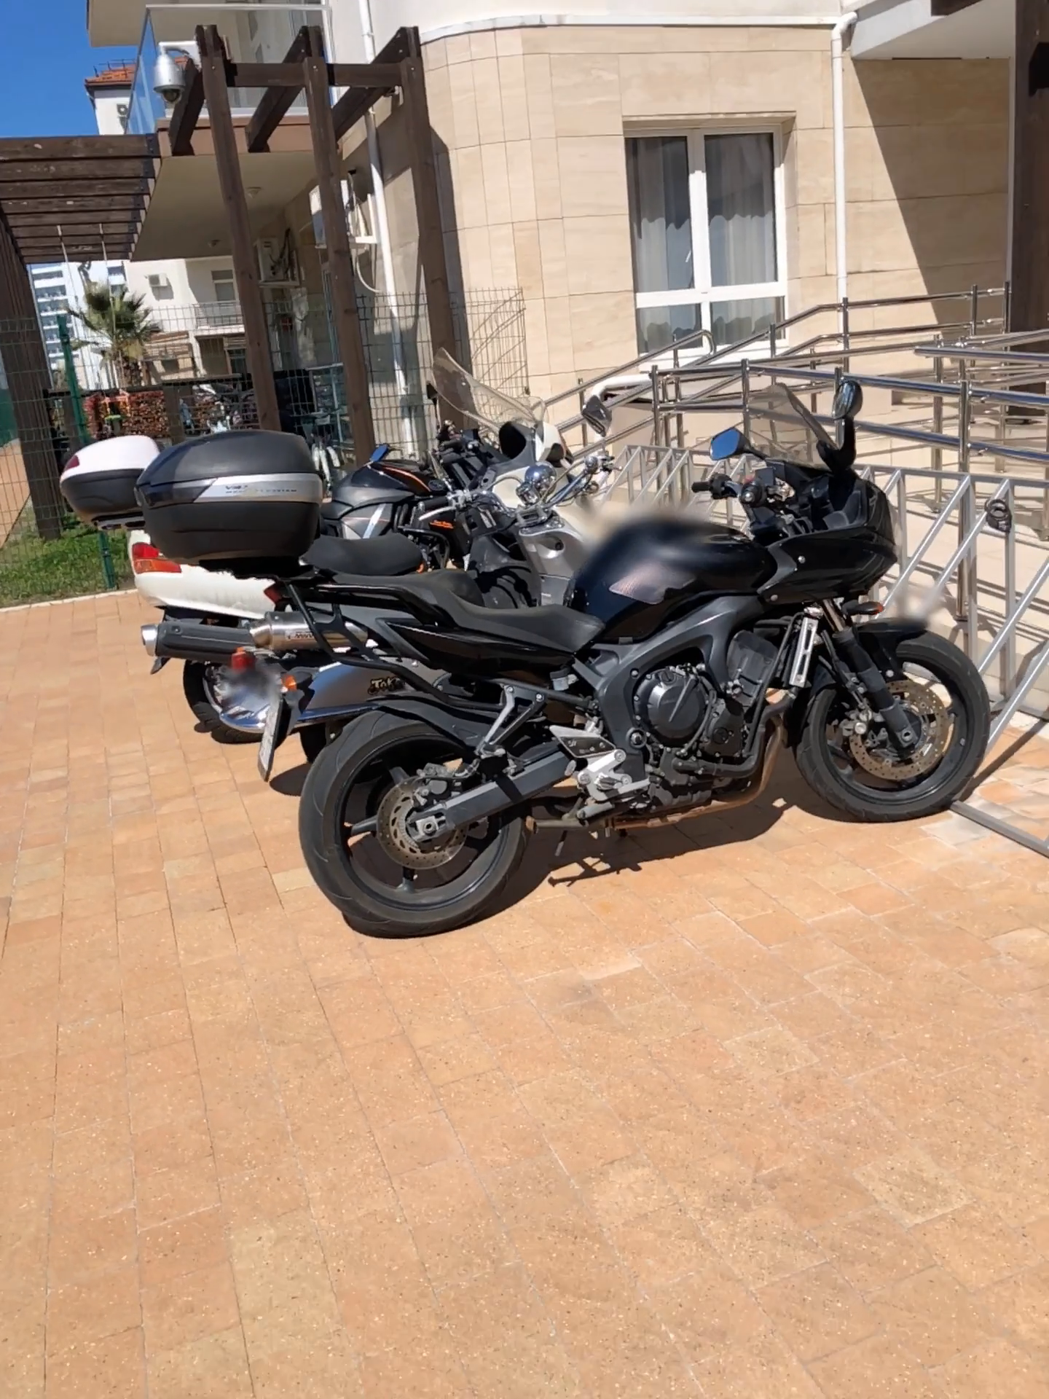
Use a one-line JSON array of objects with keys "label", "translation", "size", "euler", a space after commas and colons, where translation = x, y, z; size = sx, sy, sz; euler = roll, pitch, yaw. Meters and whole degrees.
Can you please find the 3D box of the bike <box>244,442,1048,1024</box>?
[{"label": "bike", "translation": [0.440, -0.009, 2.890], "size": [1.919, 1.003, 0.607], "euler": [-11, 16, -16]}]
